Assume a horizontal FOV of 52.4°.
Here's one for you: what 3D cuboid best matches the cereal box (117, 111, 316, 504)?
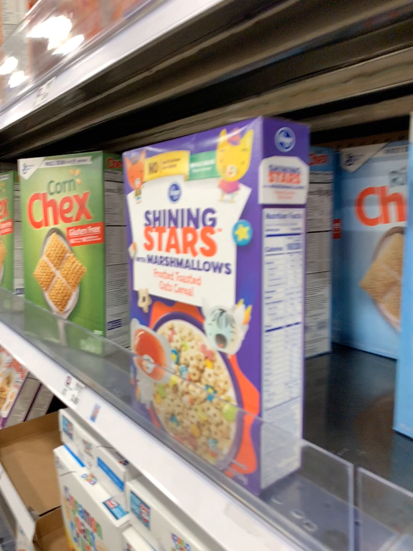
[{"bbox_3d":[-0.004,0.018,0.375,0.050,0.270,0.200,-6,9,-40],"label":"cereal box"}]
